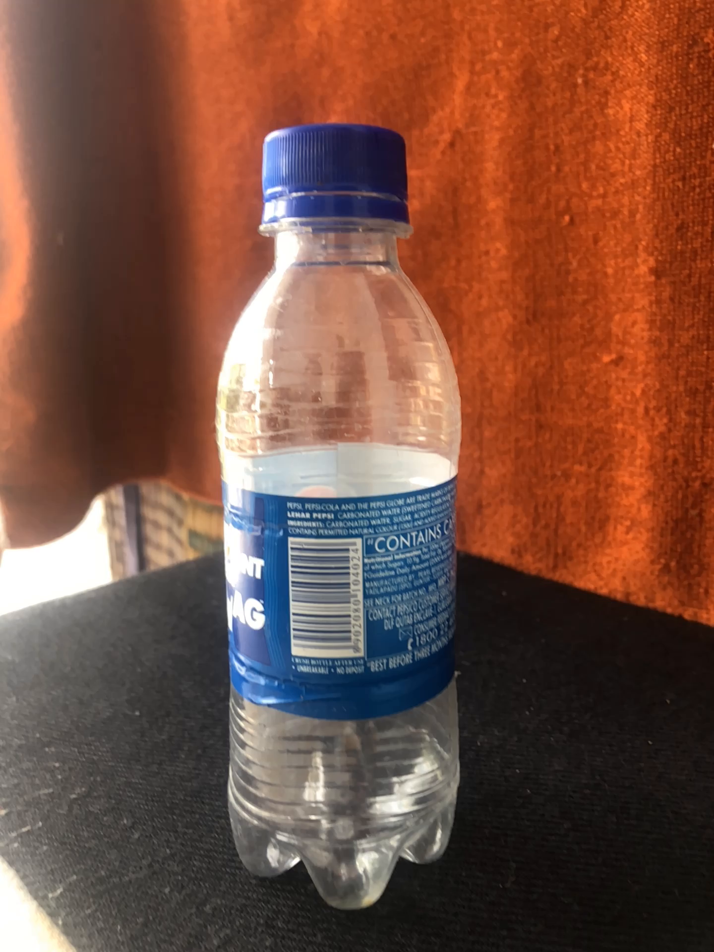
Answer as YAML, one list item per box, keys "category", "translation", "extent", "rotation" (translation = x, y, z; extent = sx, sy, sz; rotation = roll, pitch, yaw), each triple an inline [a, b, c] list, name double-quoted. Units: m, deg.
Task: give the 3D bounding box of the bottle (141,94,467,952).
- category: "bottle"
  translation: [-0.012, 0.013, 0.179]
  extent: [0.050, 0.169, 0.060]
  rotation: [-7, 15, -16]
